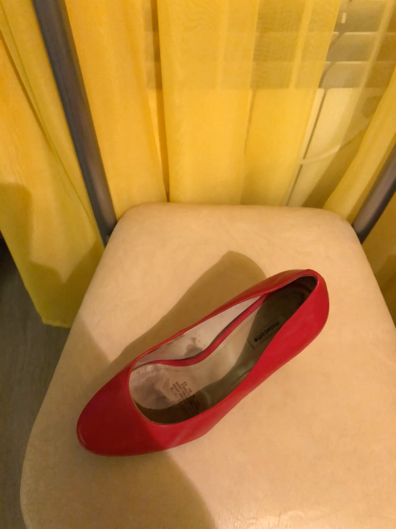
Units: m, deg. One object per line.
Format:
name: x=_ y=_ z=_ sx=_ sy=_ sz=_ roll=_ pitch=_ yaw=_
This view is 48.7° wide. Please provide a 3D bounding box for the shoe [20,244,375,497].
shoe: x=0.002 y=0.089 z=0.354 sx=0.230 sy=0.129 sz=0.080 roll=-22 pitch=65 yaw=-14
